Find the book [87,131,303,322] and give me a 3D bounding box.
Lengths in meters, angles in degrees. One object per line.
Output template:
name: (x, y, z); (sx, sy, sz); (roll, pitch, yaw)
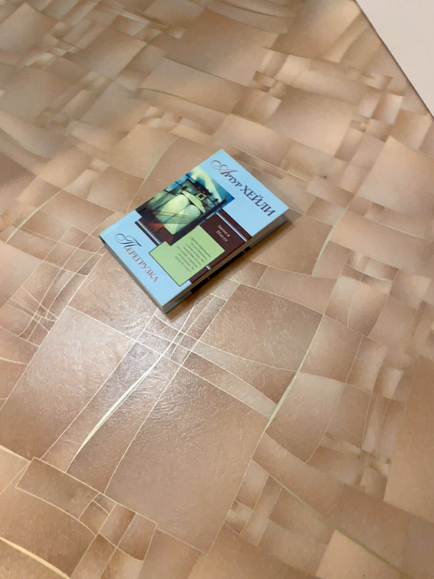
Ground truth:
book: (-0.025, -0.085, 0.541); (0.210, 0.040, 0.150); (-38, 67, -15)
